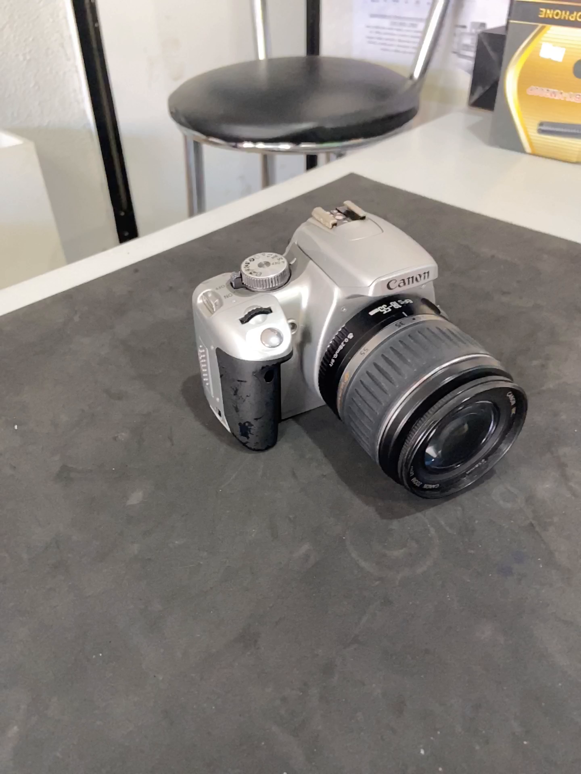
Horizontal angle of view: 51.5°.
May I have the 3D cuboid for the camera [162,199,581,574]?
[{"bbox_3d":[0.028,-0.015,0.282,0.120,0.079,0.141,-22,42,-23],"label":"camera"}]
